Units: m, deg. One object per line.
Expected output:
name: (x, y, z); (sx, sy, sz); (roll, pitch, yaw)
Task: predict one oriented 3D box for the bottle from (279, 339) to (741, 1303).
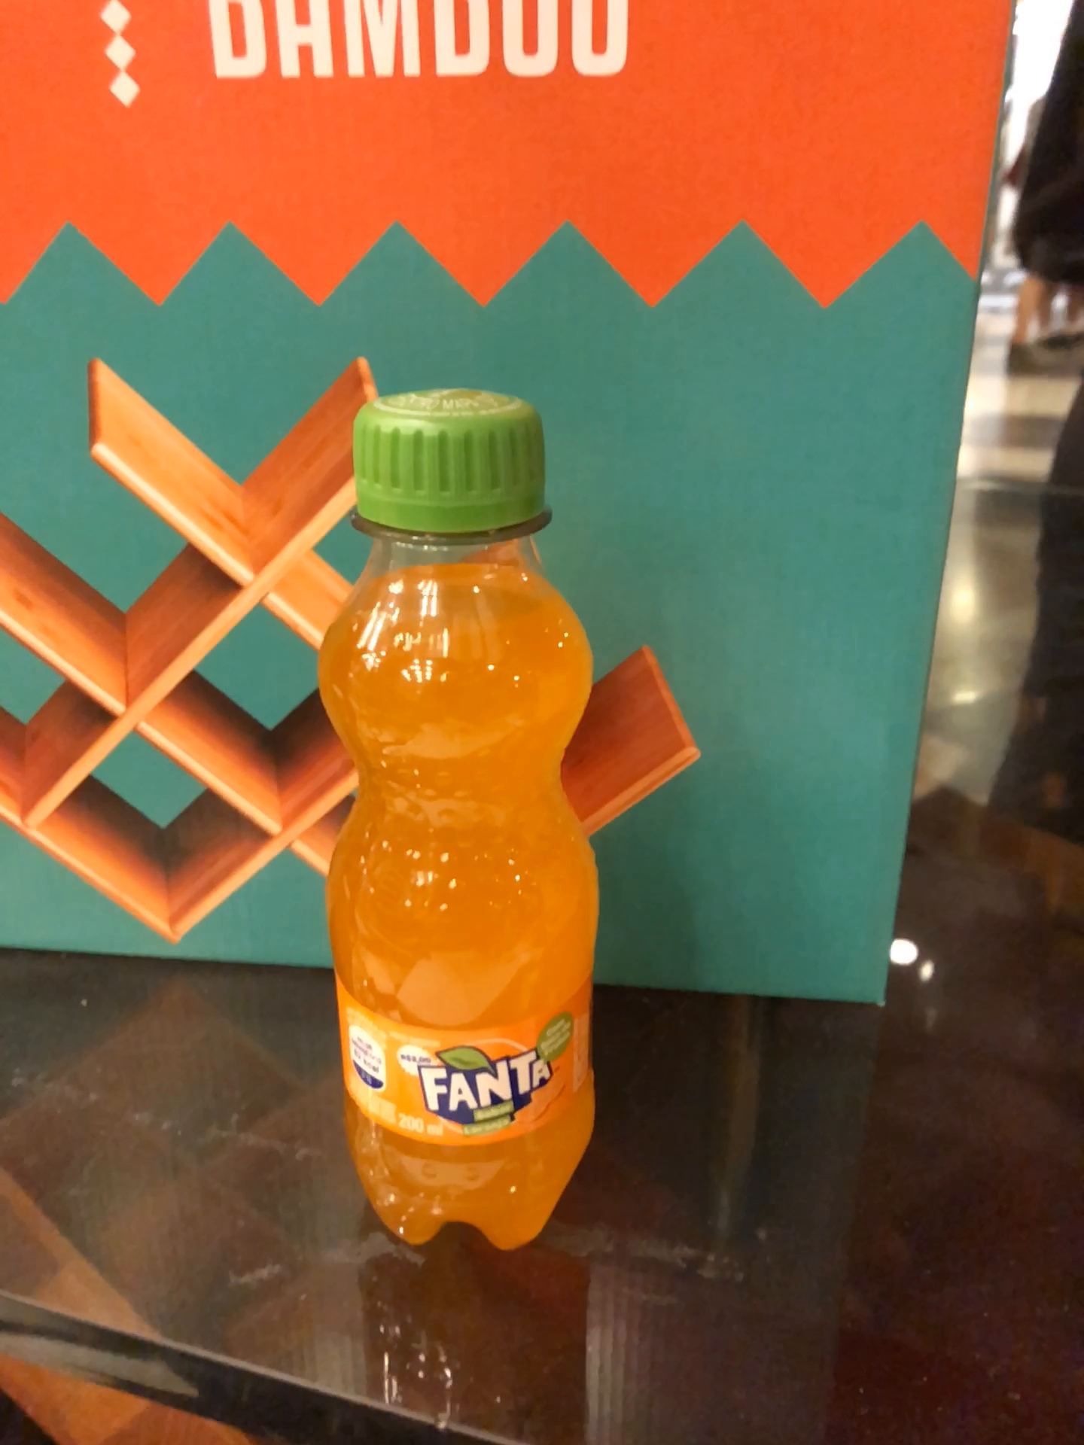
bottle: (-0.005, 0.019, 0.216); (0.060, 0.159, 0.060); (-1, 24, 0)
